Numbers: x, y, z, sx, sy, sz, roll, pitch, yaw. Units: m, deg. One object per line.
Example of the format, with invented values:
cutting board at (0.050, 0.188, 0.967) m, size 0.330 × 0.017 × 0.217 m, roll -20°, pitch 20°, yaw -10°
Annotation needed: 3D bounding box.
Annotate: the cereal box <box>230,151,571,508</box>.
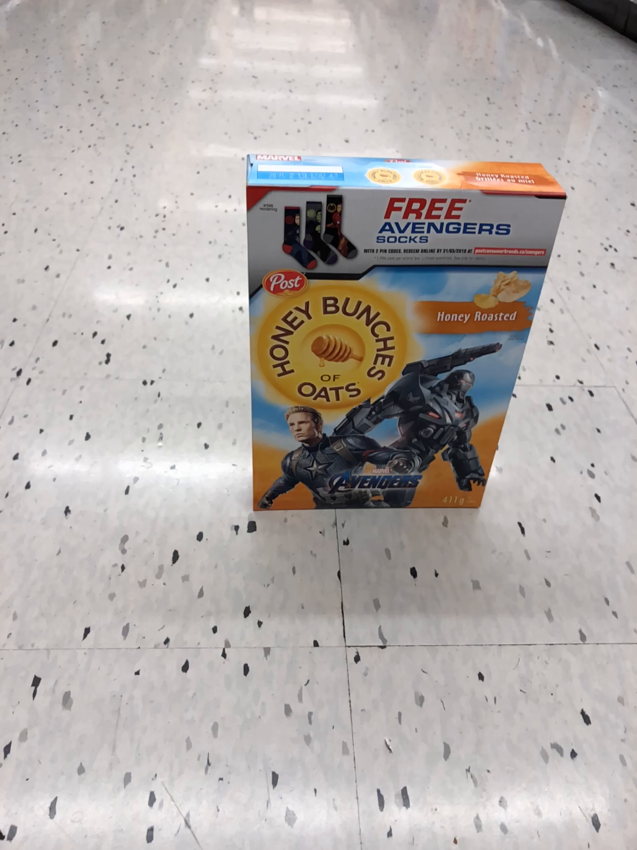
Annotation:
cereal box at (0.041, -0.055, 0.511) m, size 0.200 × 0.258 × 0.060 m, roll -1°, pitch 39°, yaw -6°
